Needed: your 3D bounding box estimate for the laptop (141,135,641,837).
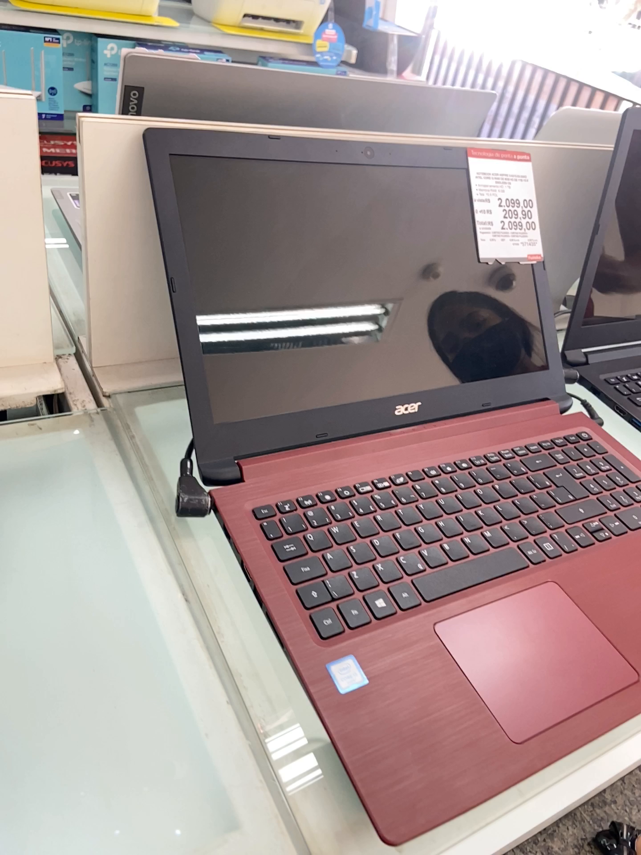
[{"bbox_3d":[0.122,-0.041,0.491,0.392,0.193,0.431,-10,42,-28],"label":"laptop"}]
